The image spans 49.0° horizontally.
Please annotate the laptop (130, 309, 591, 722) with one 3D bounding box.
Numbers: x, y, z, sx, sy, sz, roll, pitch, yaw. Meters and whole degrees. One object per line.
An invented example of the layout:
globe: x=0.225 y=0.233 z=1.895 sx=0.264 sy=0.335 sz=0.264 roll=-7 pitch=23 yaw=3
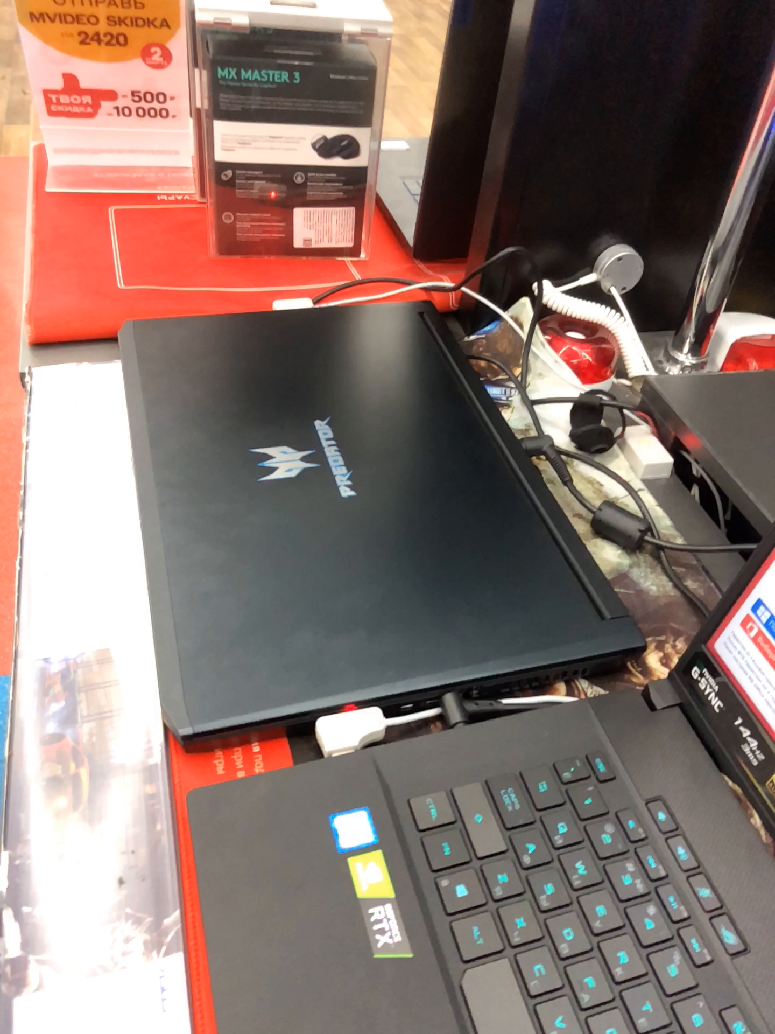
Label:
laptop: x=-0.044 y=-0.037 z=0.561 sx=0.221 sy=0.006 sz=0.355 roll=-8 pitch=45 yaw=-15
